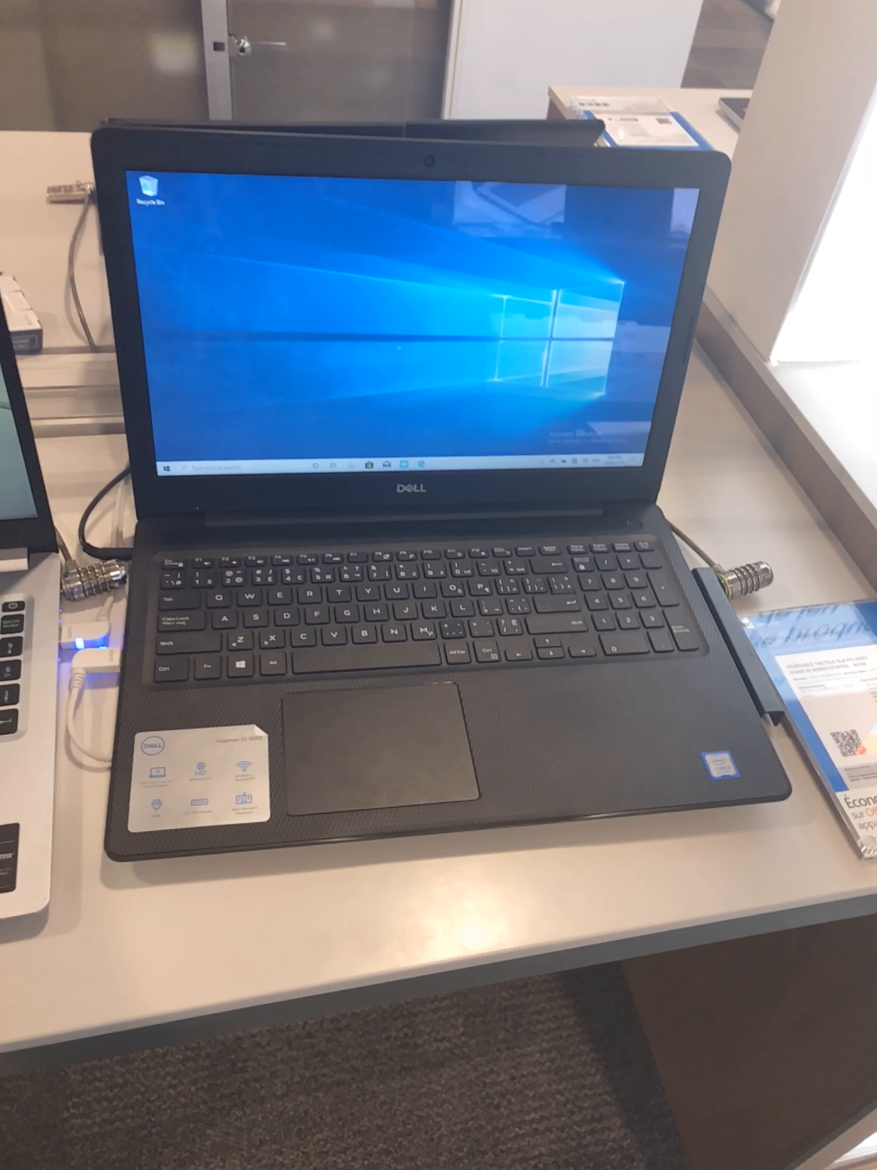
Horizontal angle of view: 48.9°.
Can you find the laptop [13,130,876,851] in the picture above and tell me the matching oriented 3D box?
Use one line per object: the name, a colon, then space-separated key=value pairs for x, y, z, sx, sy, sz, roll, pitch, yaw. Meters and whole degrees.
laptop: x=0.003 y=-0.066 z=0.542 sx=0.368 sy=0.230 sz=0.311 roll=-2 pitch=46 yaw=-11
